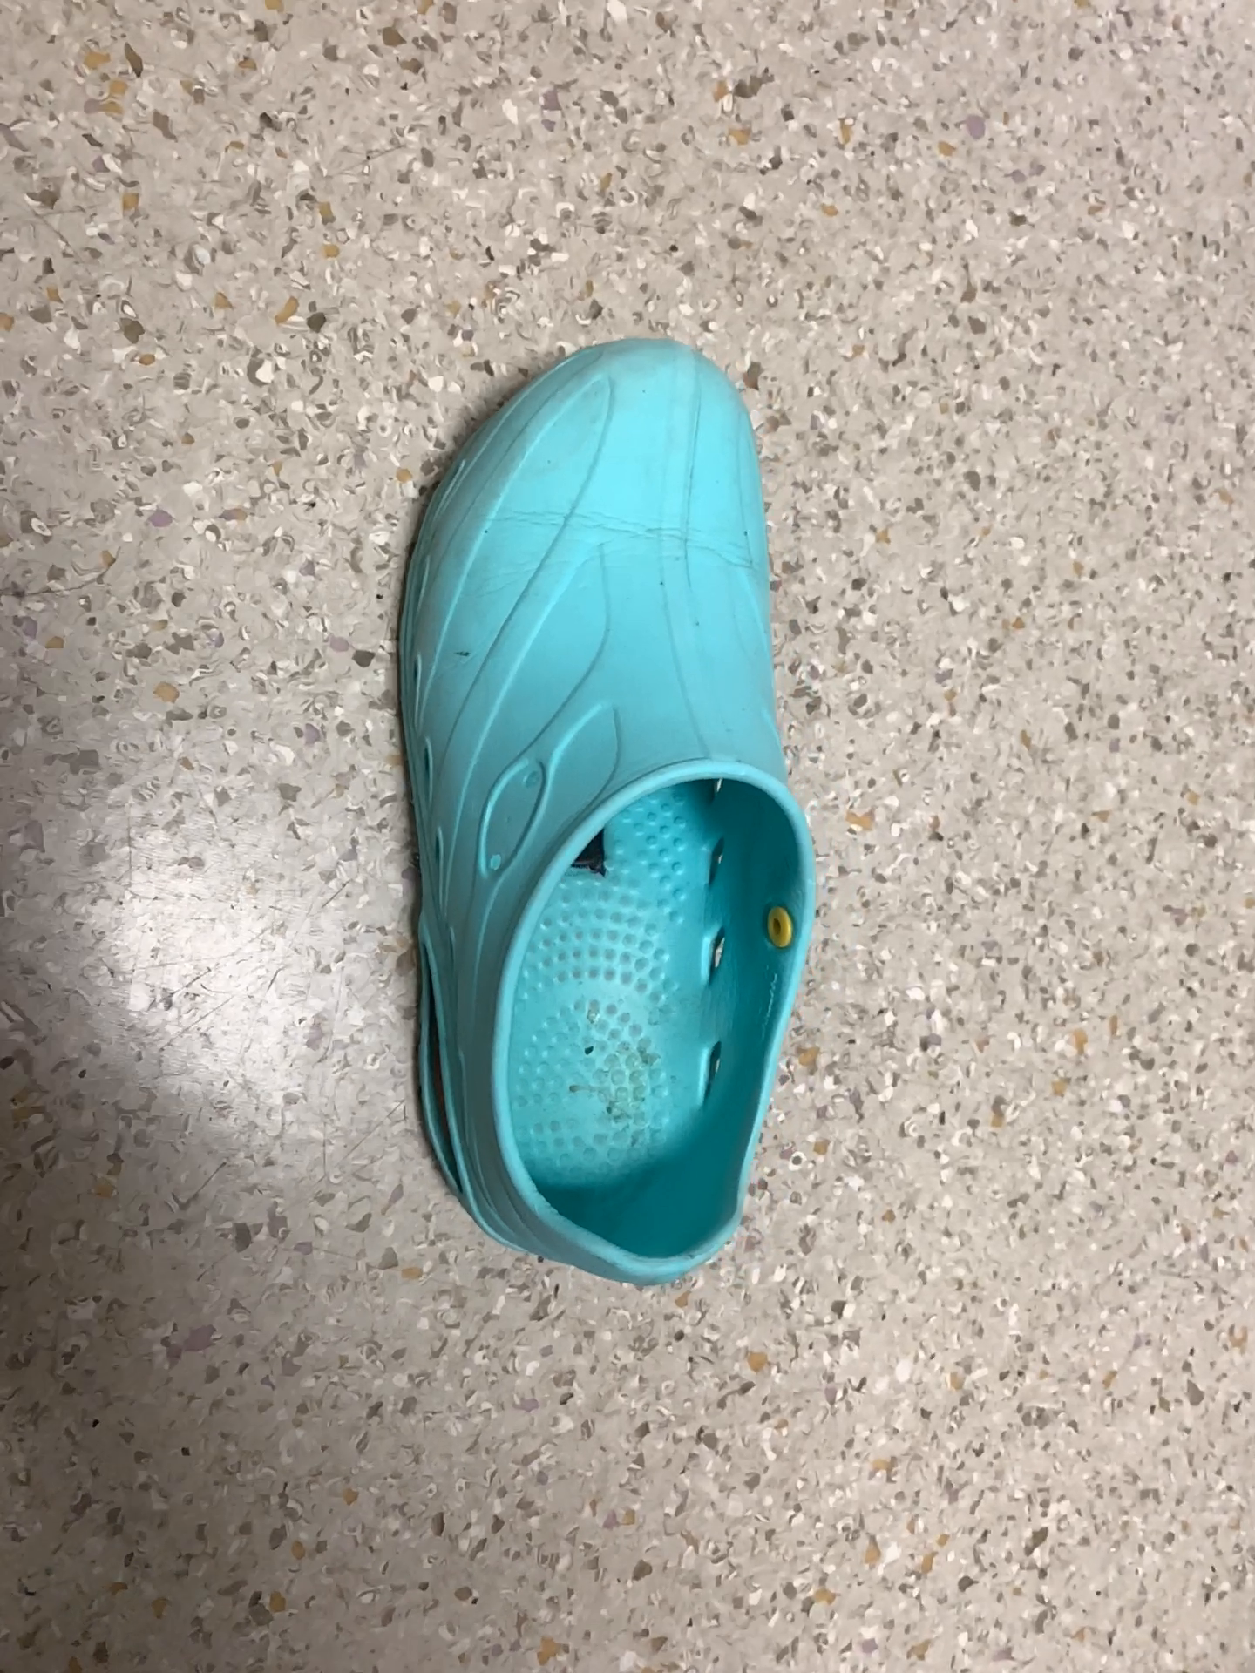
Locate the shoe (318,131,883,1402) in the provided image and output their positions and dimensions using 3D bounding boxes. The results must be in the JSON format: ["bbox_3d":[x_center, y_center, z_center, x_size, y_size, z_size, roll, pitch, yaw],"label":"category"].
[{"bbox_3d":[-0.013,-0.014,0.348,0.106,0.105,0.275,4,89,-22],"label":"shoe"}]
